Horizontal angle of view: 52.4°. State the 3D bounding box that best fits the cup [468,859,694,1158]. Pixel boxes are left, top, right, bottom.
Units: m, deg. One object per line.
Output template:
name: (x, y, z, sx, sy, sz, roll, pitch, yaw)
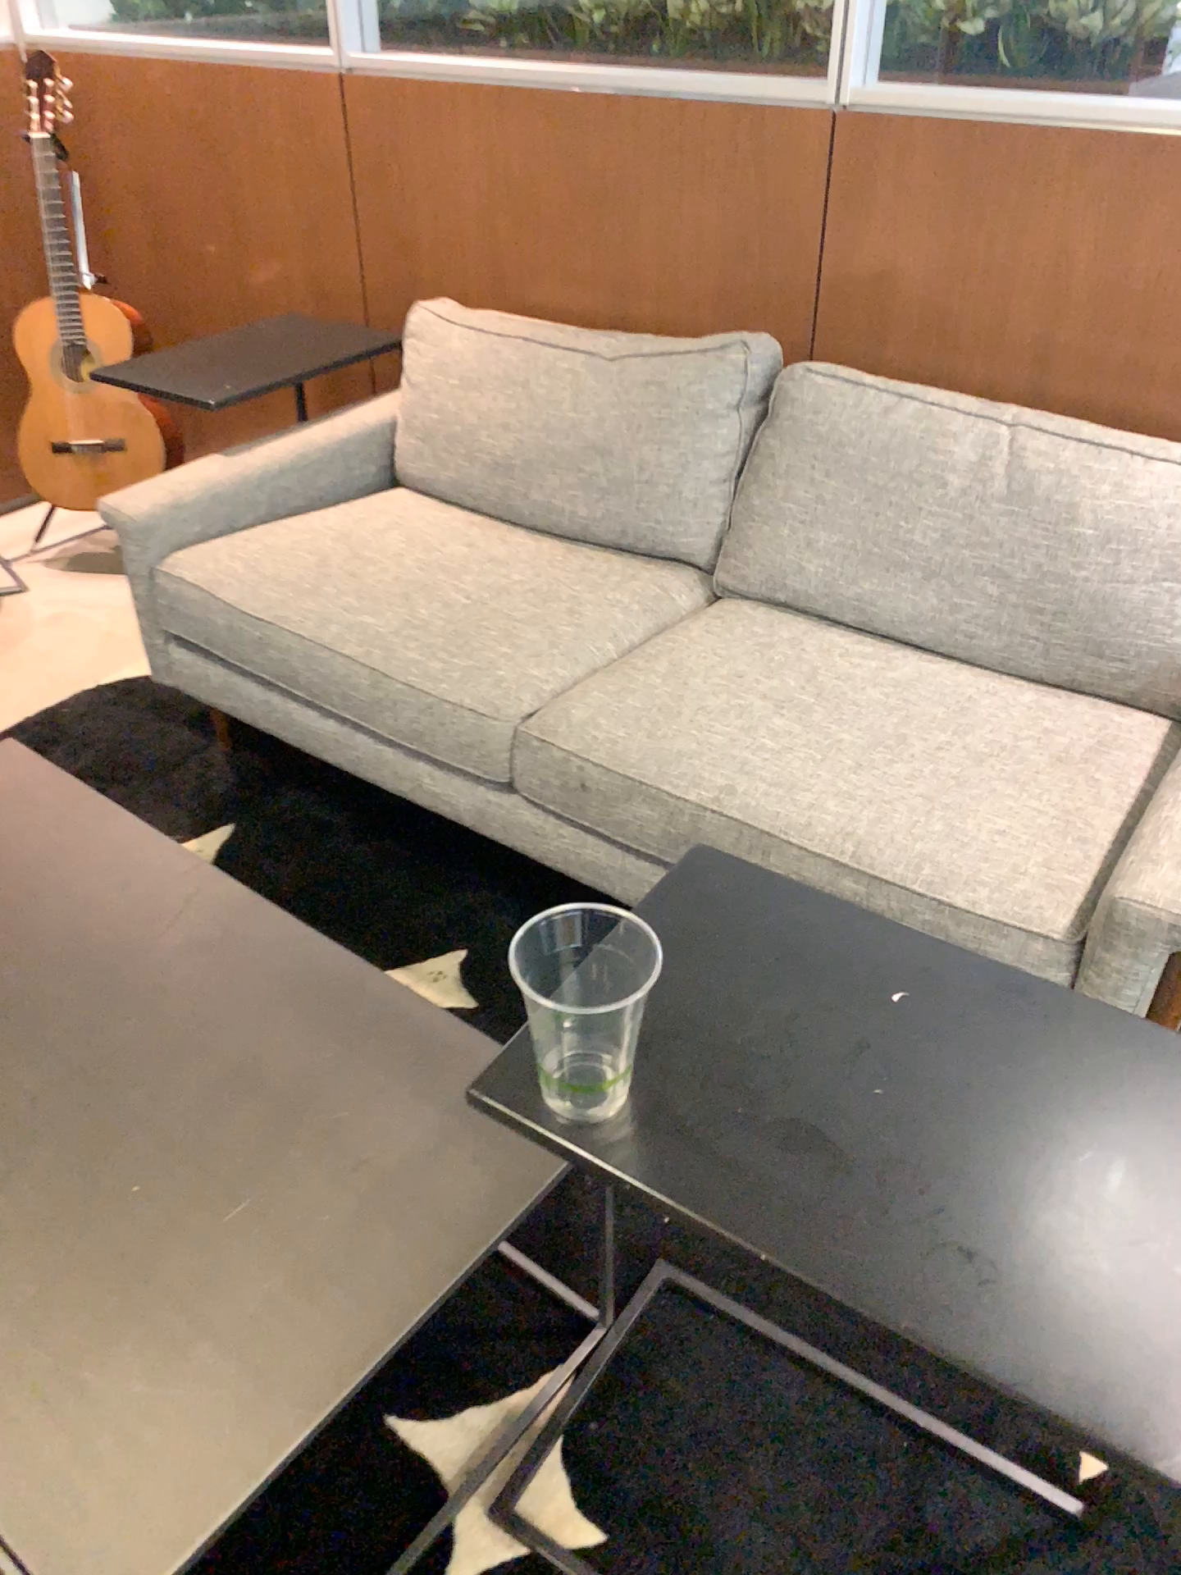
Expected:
cup: (-0.005, 0.141, 0.782, 0.100, 0.129, 0.100, 0, 35, 0)
